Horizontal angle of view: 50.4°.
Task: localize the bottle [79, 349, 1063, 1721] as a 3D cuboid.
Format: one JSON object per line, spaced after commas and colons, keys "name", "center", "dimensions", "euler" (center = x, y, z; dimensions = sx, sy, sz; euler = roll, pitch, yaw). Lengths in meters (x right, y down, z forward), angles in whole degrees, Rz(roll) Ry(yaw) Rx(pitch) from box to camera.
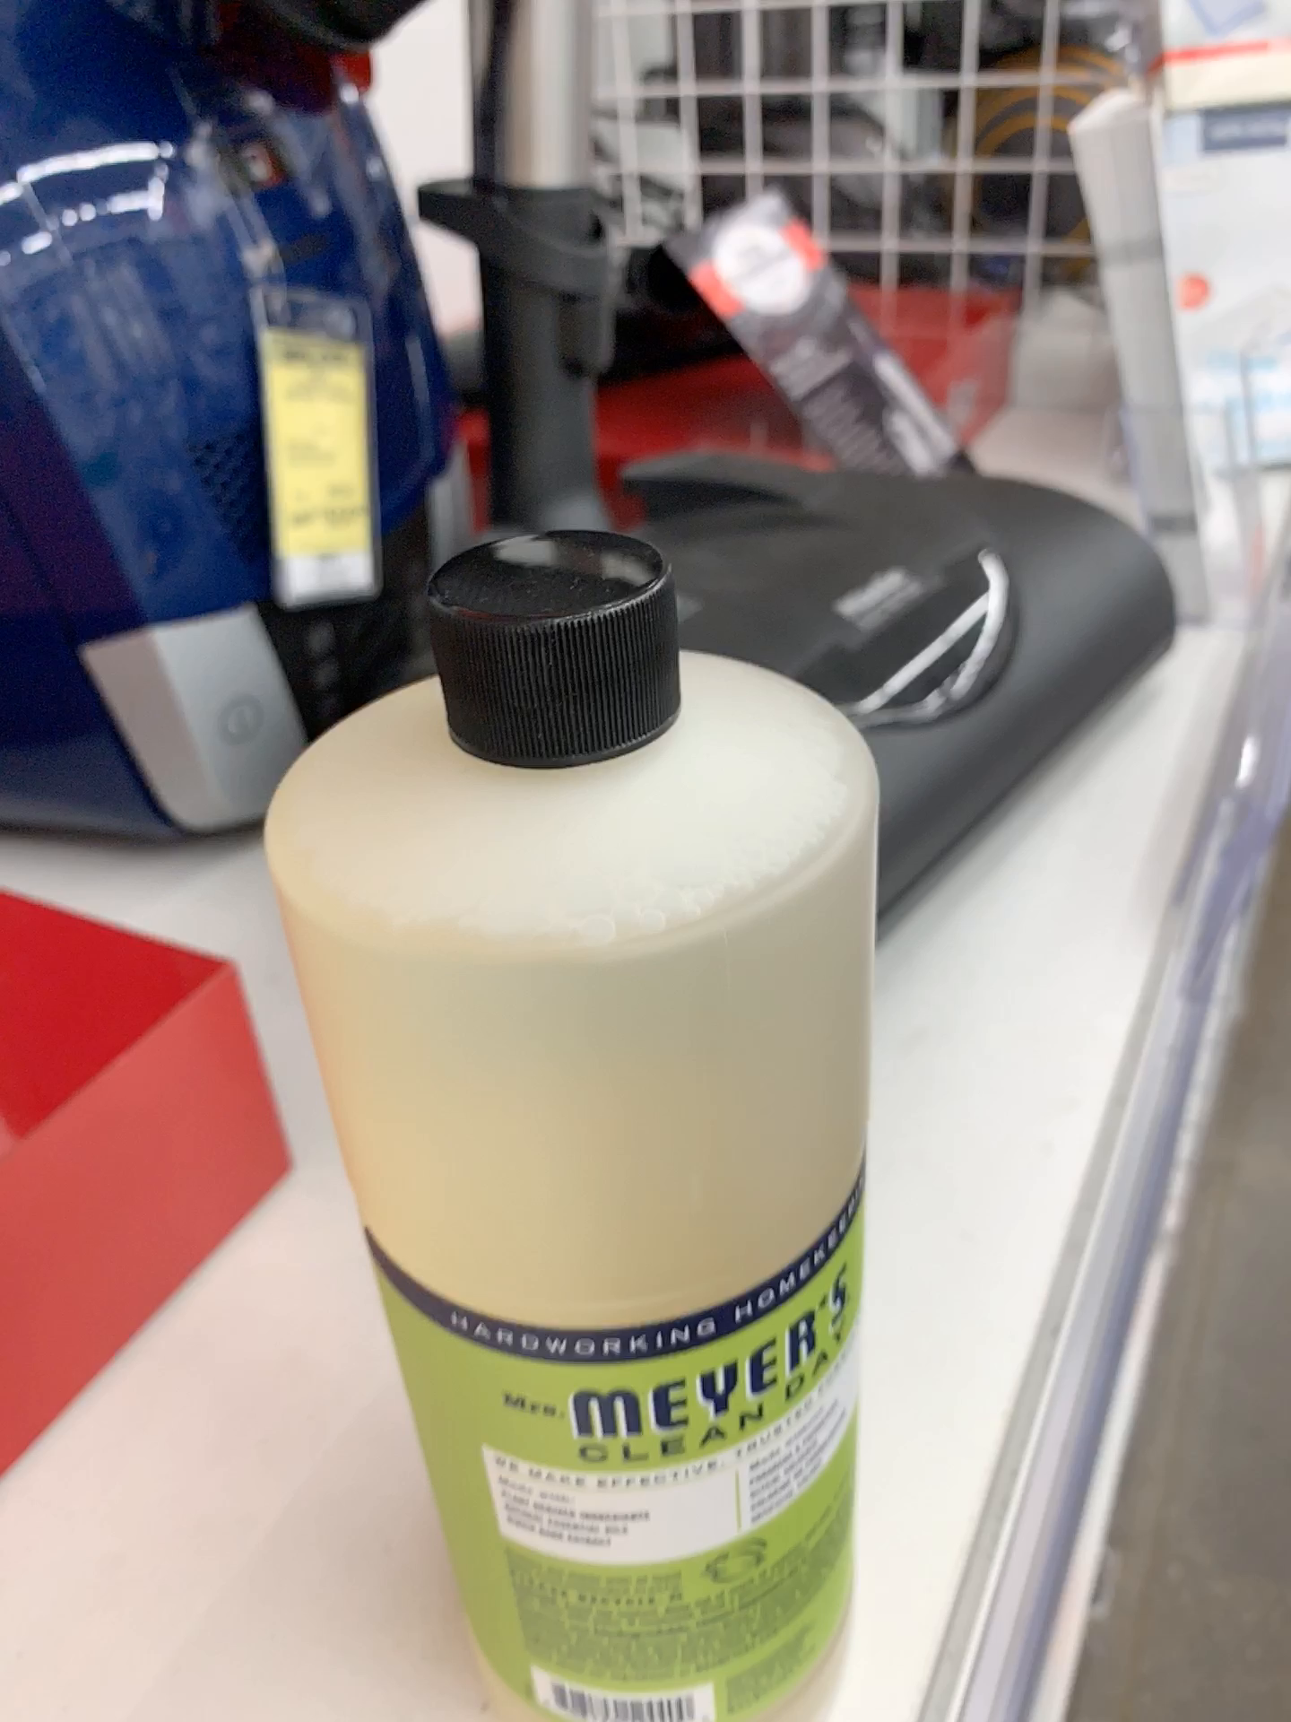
{"name": "bottle", "center": [-0.007, 0.054, 0.232], "dimensions": [0.090, 0.239, 0.090], "euler": [-3, 34, 2]}
